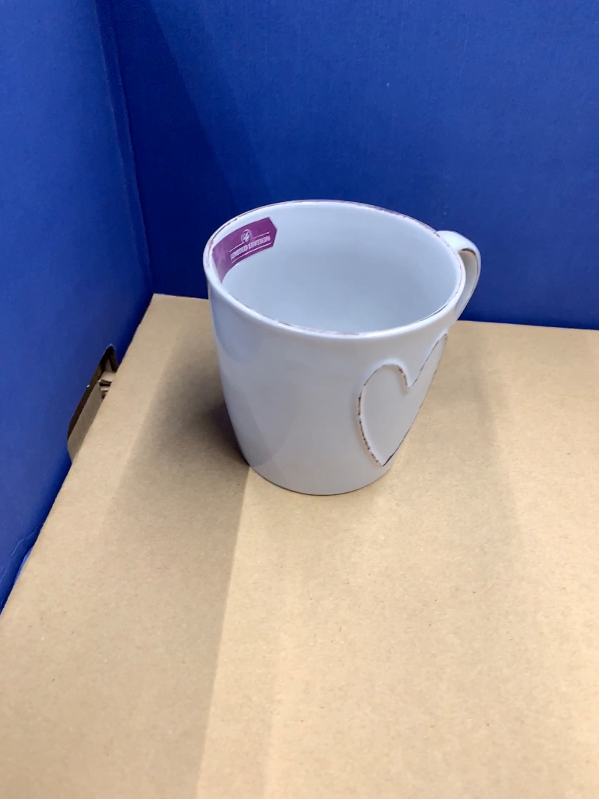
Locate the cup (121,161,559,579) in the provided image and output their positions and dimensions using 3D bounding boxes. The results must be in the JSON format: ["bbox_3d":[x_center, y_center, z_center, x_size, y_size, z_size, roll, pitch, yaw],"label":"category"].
[{"bbox_3d":[0.018,-0.022,0.239,0.091,0.085,0.125,31,48,30],"label":"cup"}]
